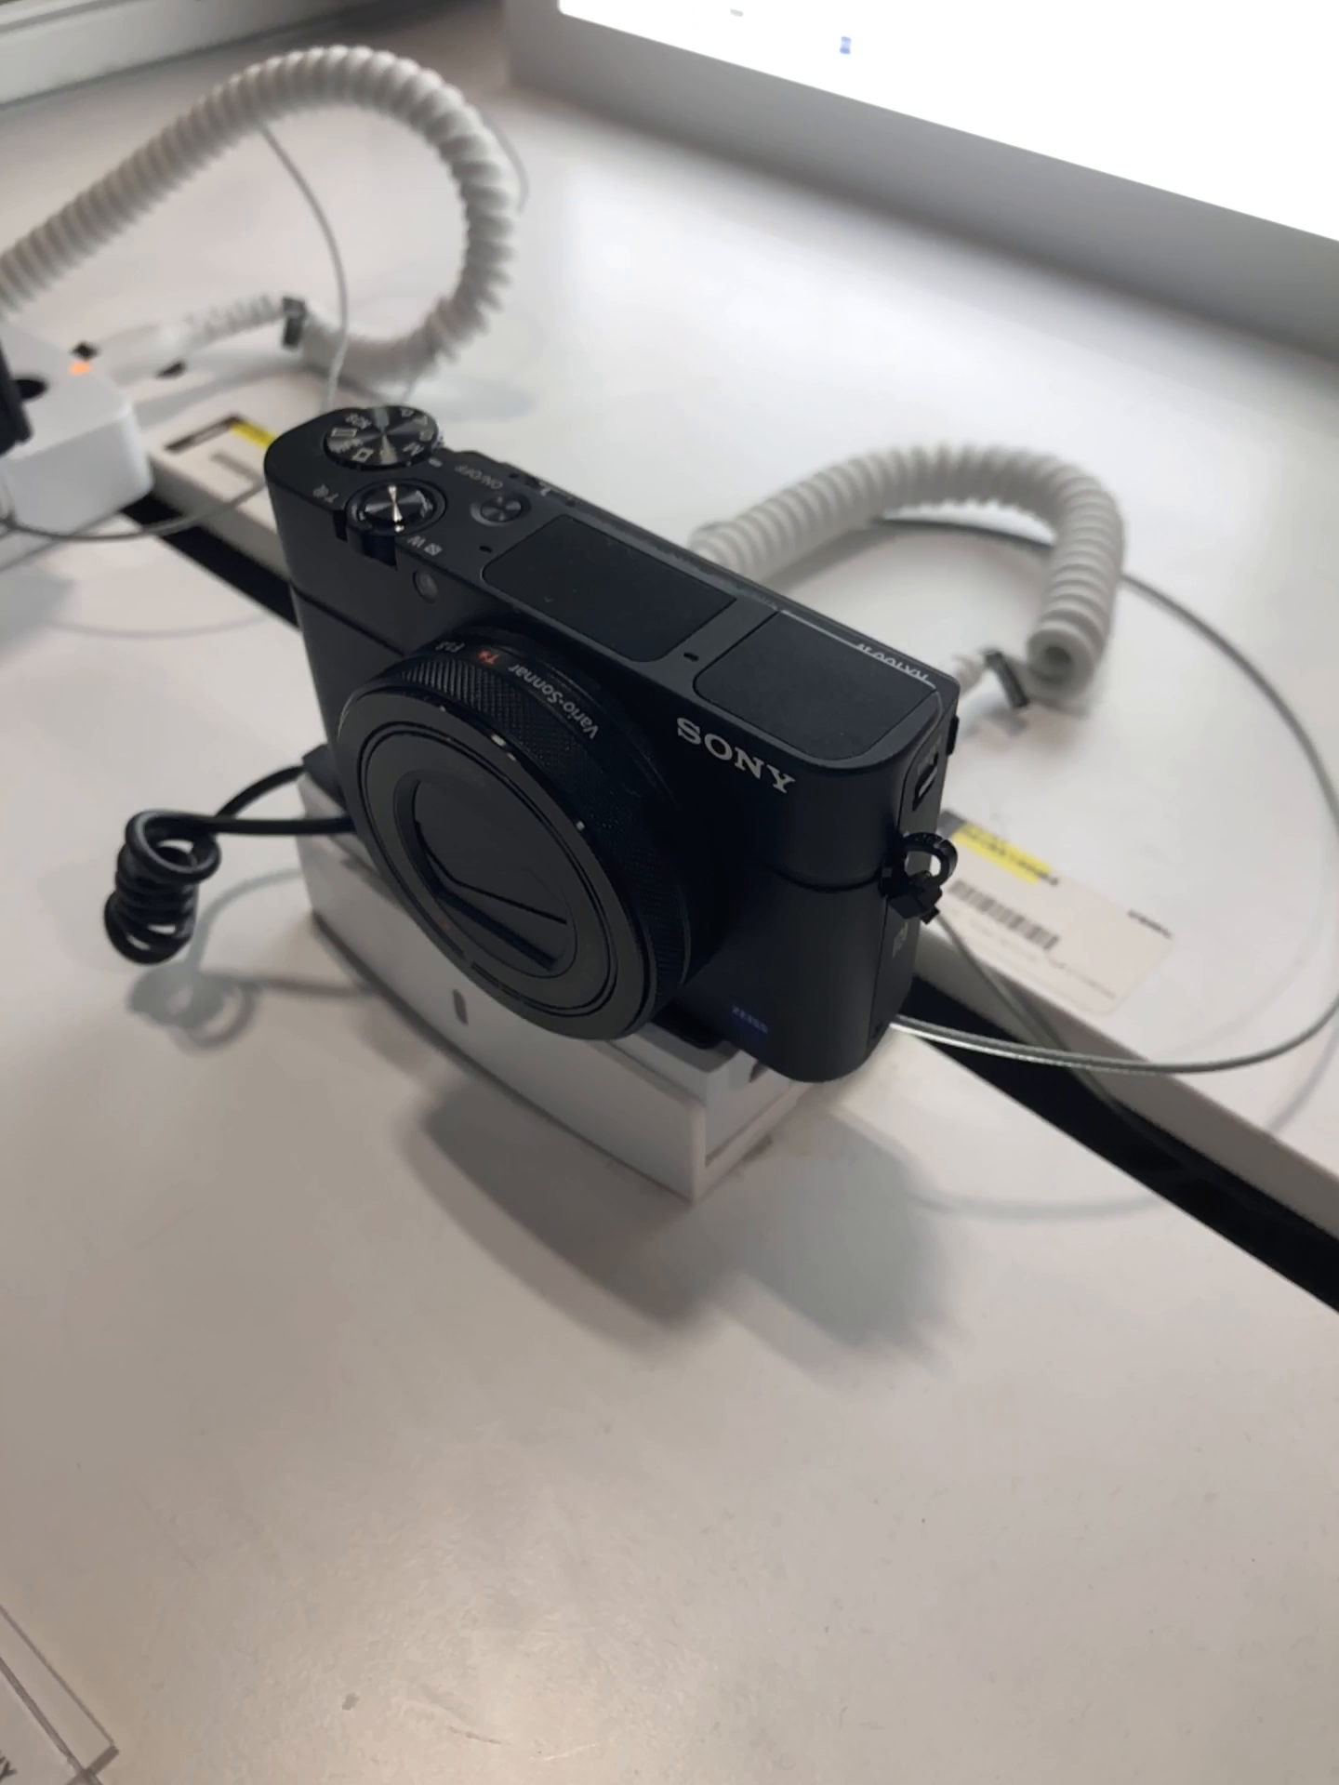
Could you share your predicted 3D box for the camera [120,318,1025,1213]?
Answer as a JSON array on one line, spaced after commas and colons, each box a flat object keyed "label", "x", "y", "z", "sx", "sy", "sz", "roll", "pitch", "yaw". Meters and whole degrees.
[{"label": "camera", "x": -0.016, "y": -0.021, "z": 0.203, "sx": 0.110, "sy": 0.070, "sz": 0.040, "roll": 32, "pitch": 53, "yaw": 27}]
